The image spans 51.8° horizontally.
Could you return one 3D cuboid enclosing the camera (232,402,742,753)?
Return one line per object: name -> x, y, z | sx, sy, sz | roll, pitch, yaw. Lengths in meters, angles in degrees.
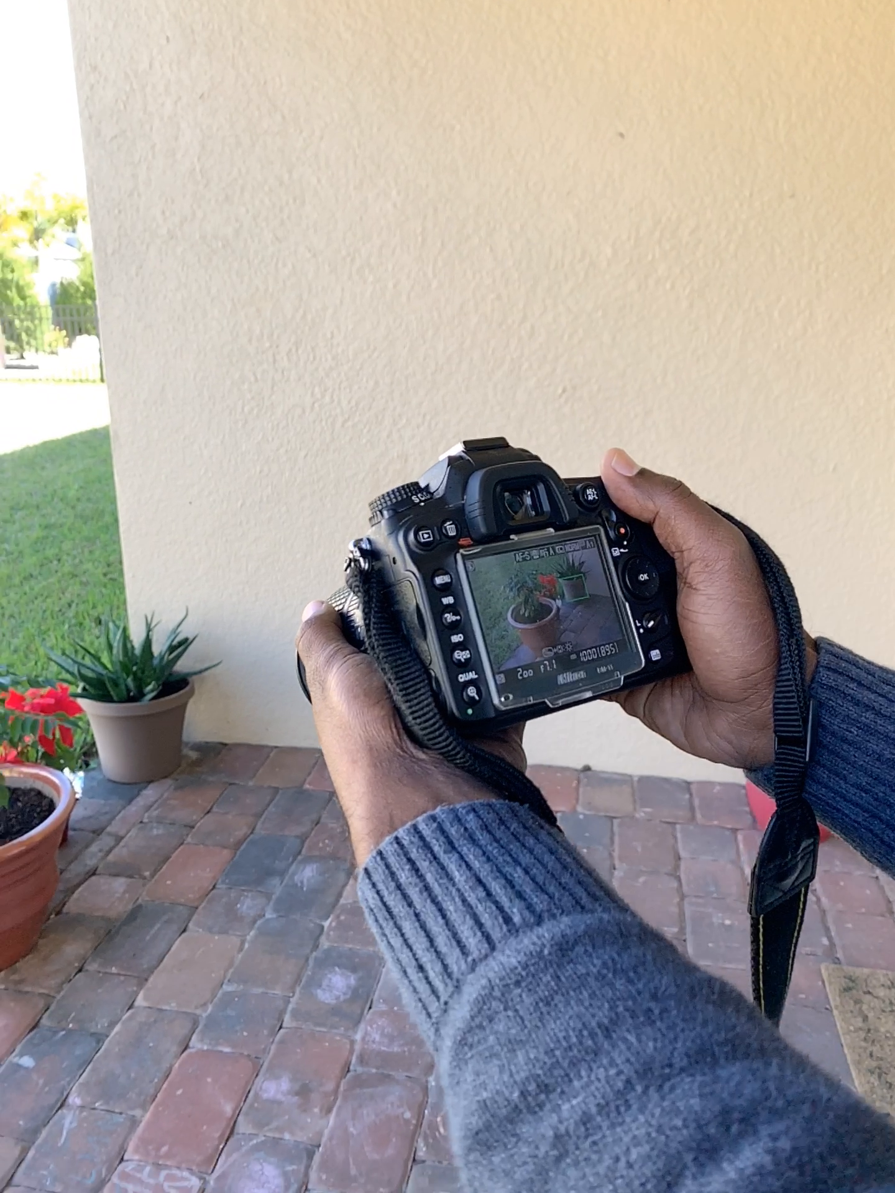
camera -> 0.003, 0.000, 0.426 | 0.130, 0.101, 0.199 | -11, -7, -31
